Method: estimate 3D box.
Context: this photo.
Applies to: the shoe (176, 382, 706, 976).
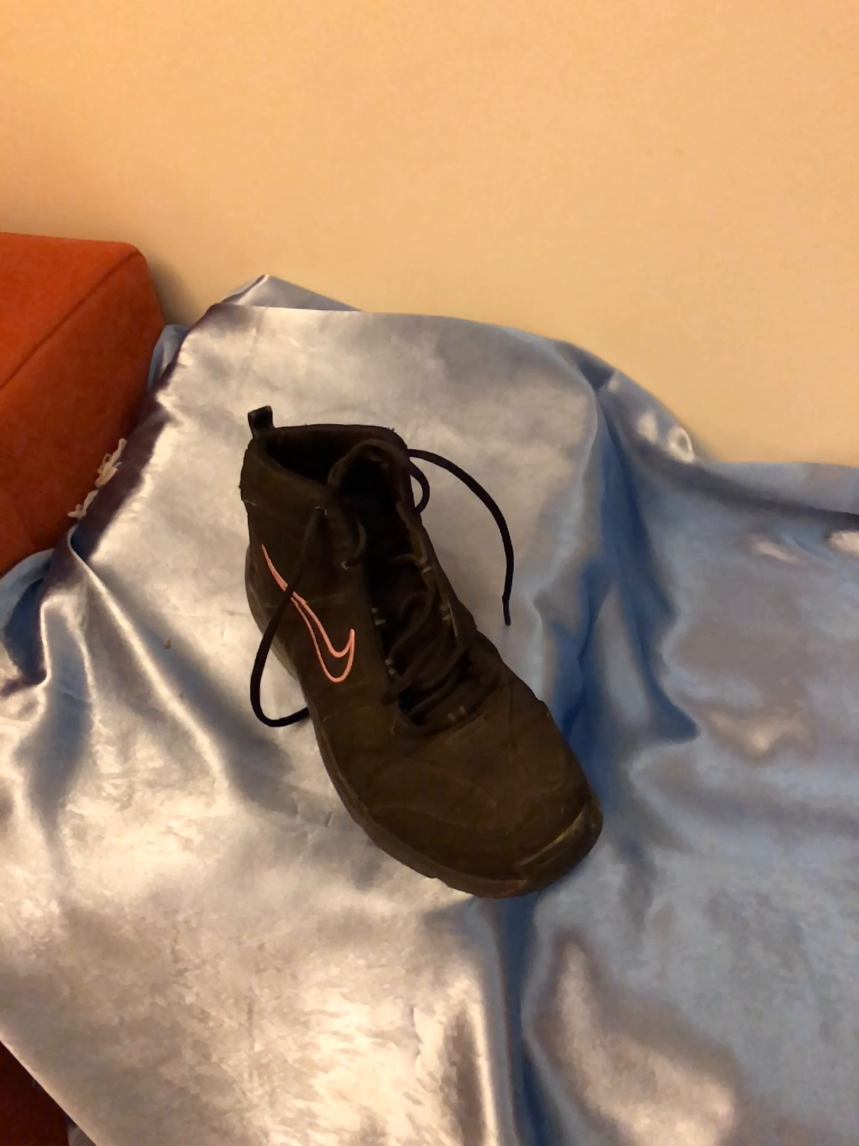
[{"bbox_3d":[-0.009,0.032,0.452,0.107,0.099,0.261,-26,52,-21],"label":"shoe"}]
